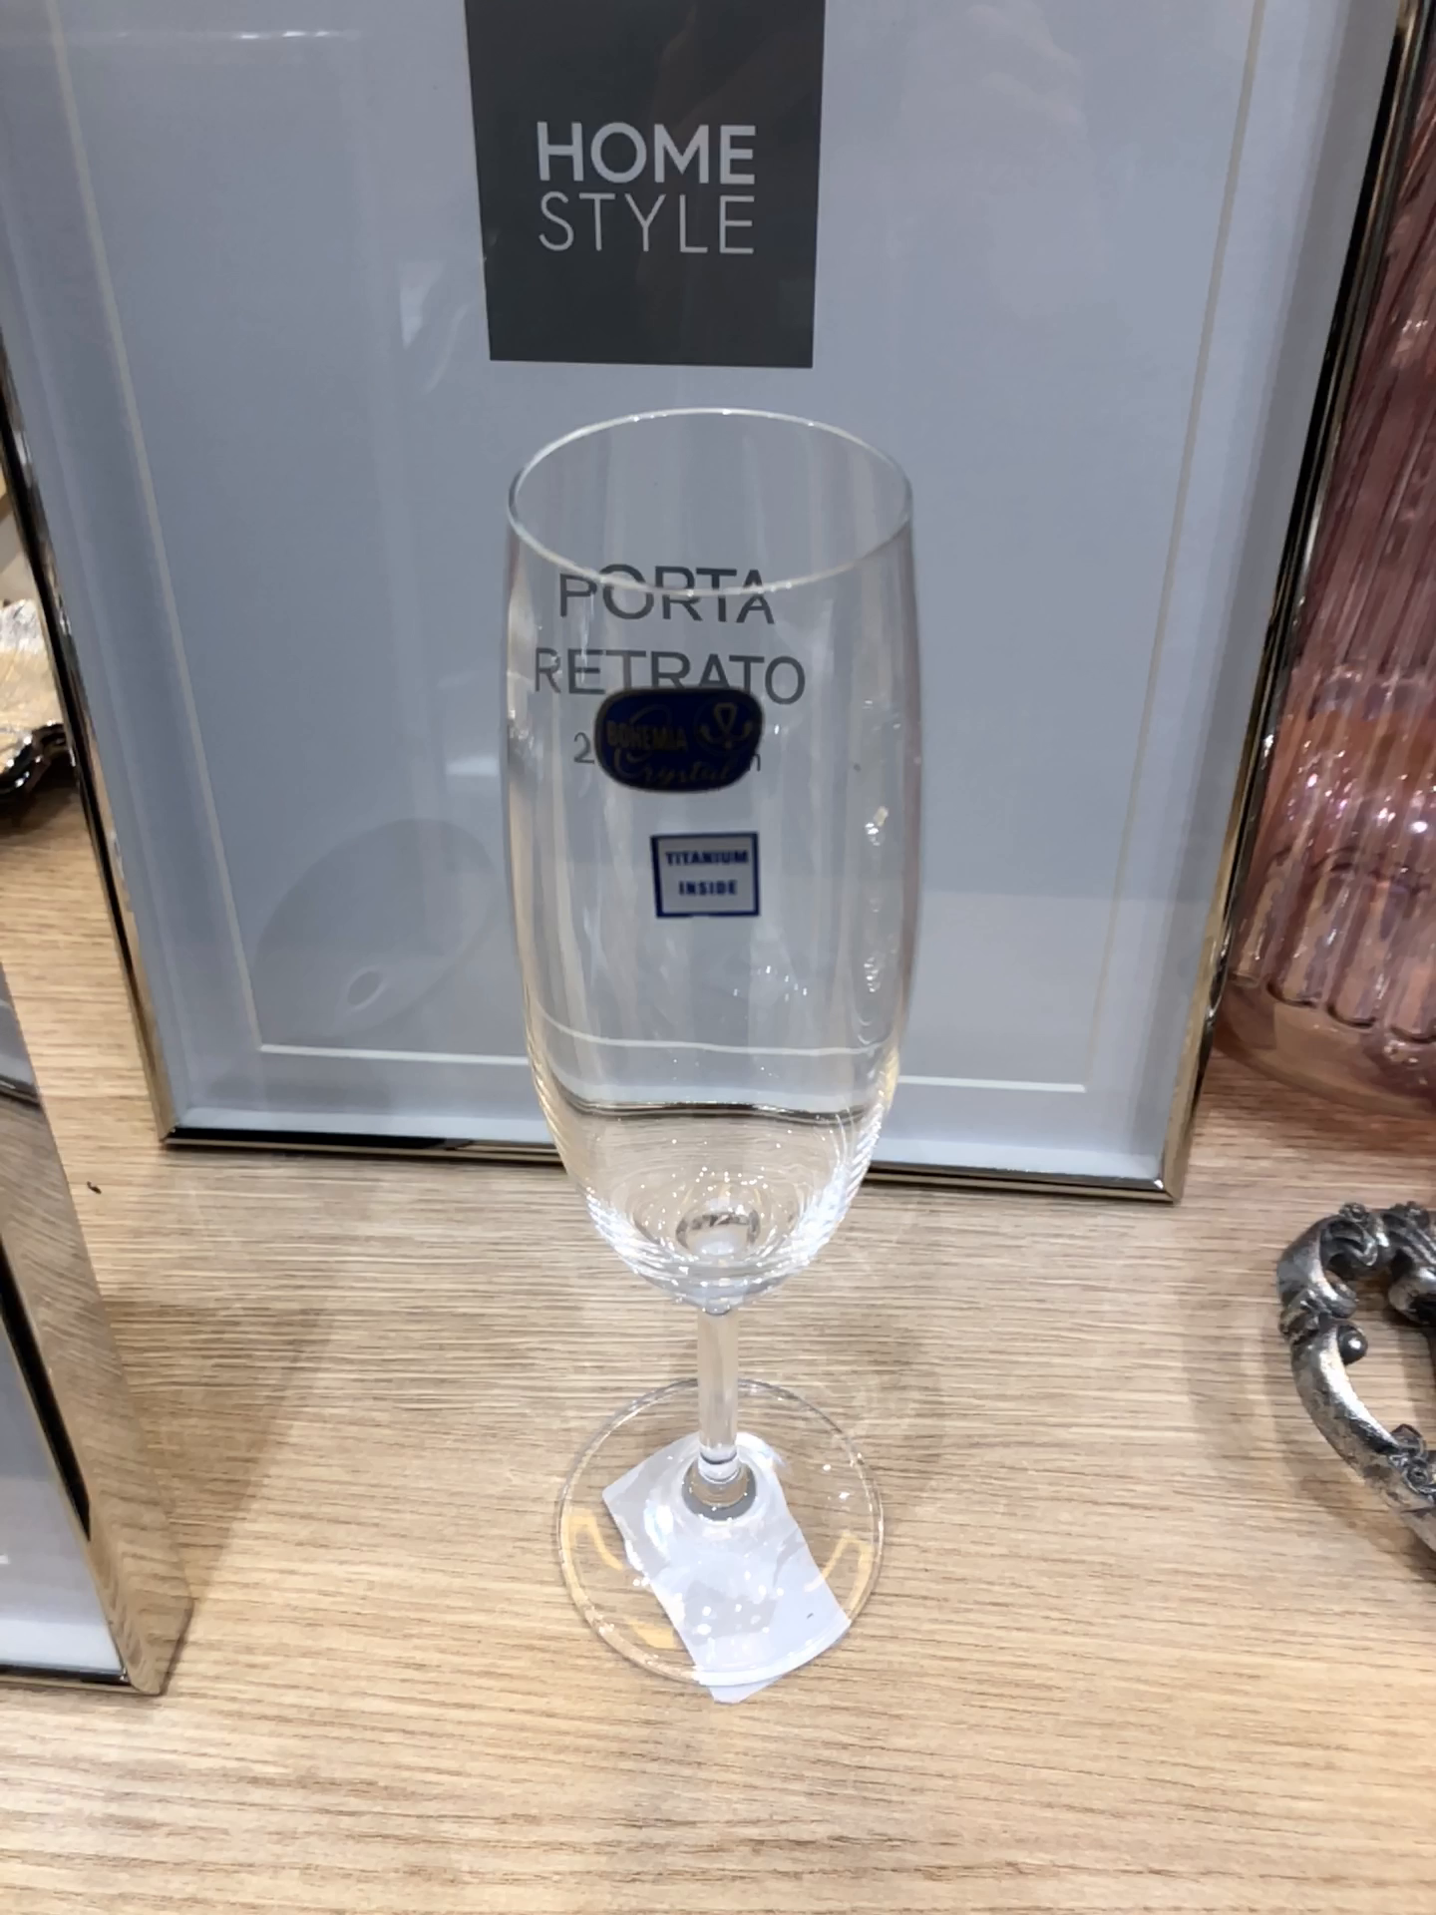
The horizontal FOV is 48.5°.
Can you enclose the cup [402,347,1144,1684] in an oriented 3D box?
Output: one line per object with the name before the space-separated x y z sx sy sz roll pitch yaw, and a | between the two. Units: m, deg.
cup | 0.006 0.028 0.249 0.070 0.218 0.070 0 41 0
